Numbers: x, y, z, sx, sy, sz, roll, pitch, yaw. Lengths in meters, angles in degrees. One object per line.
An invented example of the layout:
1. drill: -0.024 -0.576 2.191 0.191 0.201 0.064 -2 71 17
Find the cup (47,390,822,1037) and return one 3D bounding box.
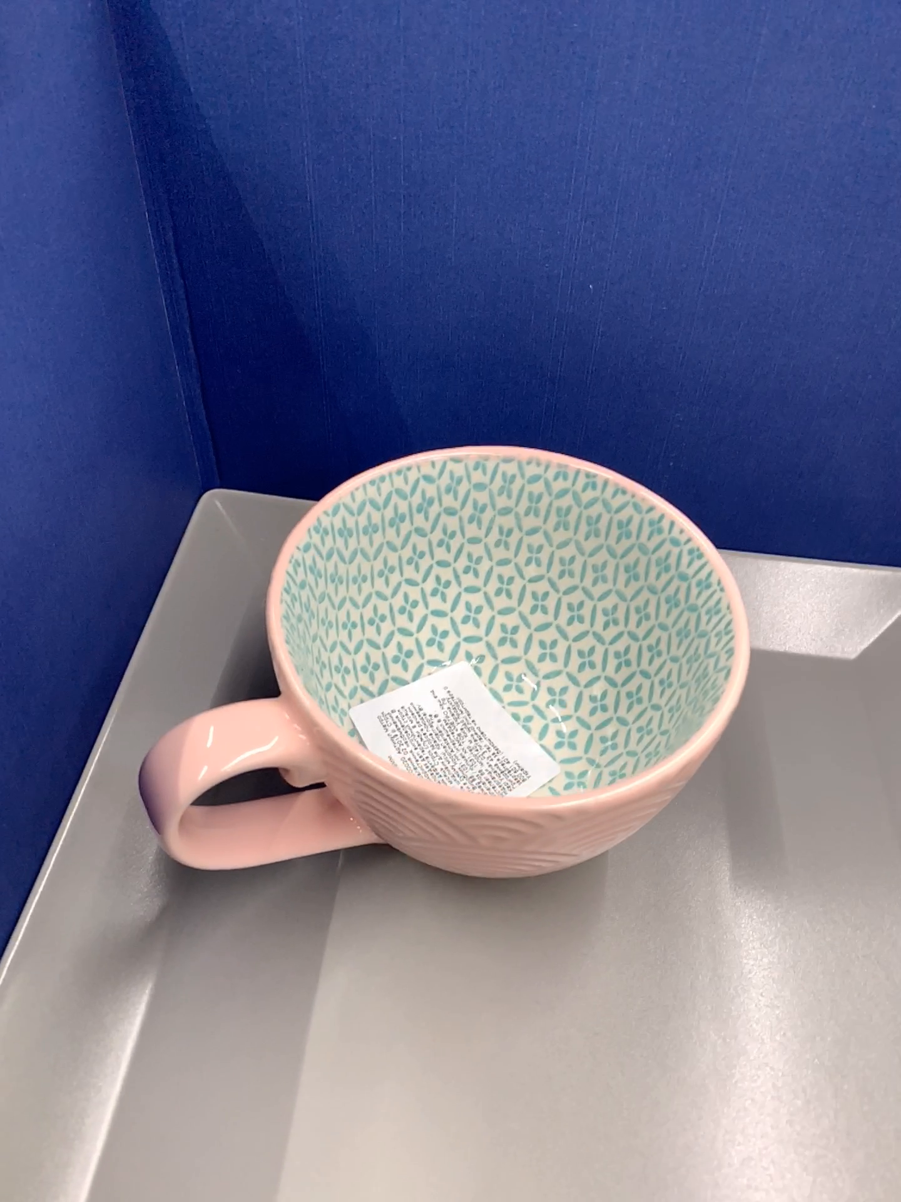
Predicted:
1. cup: -0.007 0.020 0.242 0.150 0.064 0.105 -19 58 -20
